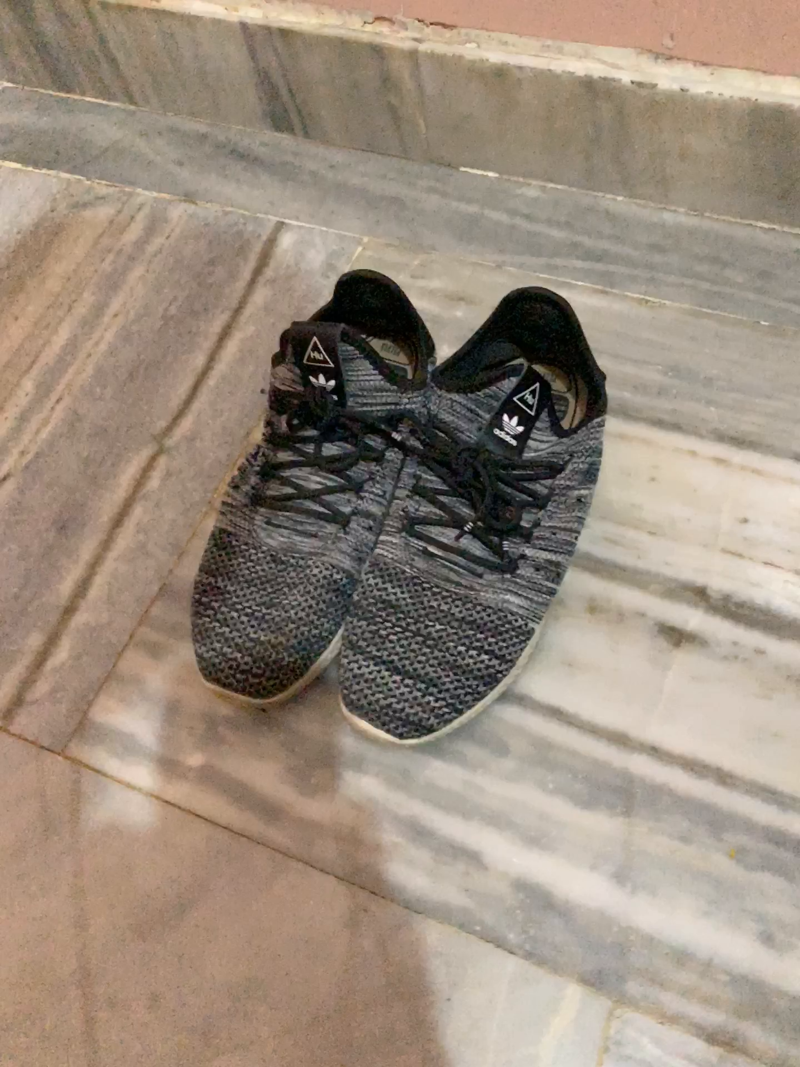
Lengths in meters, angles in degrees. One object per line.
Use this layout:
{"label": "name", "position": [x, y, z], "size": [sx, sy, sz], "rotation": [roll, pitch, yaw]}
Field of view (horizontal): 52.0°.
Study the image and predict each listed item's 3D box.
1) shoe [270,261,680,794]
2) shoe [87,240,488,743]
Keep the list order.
{"label": "shoe", "position": [0.056, -0.017, 0.495], "size": [0.120, 0.080, 0.299], "rotation": [21, 66, 17]}
{"label": "shoe", "position": [-0.051, -0.040, 0.518], "size": [0.120, 0.080, 0.300], "rotation": [17, 65, 15]}
